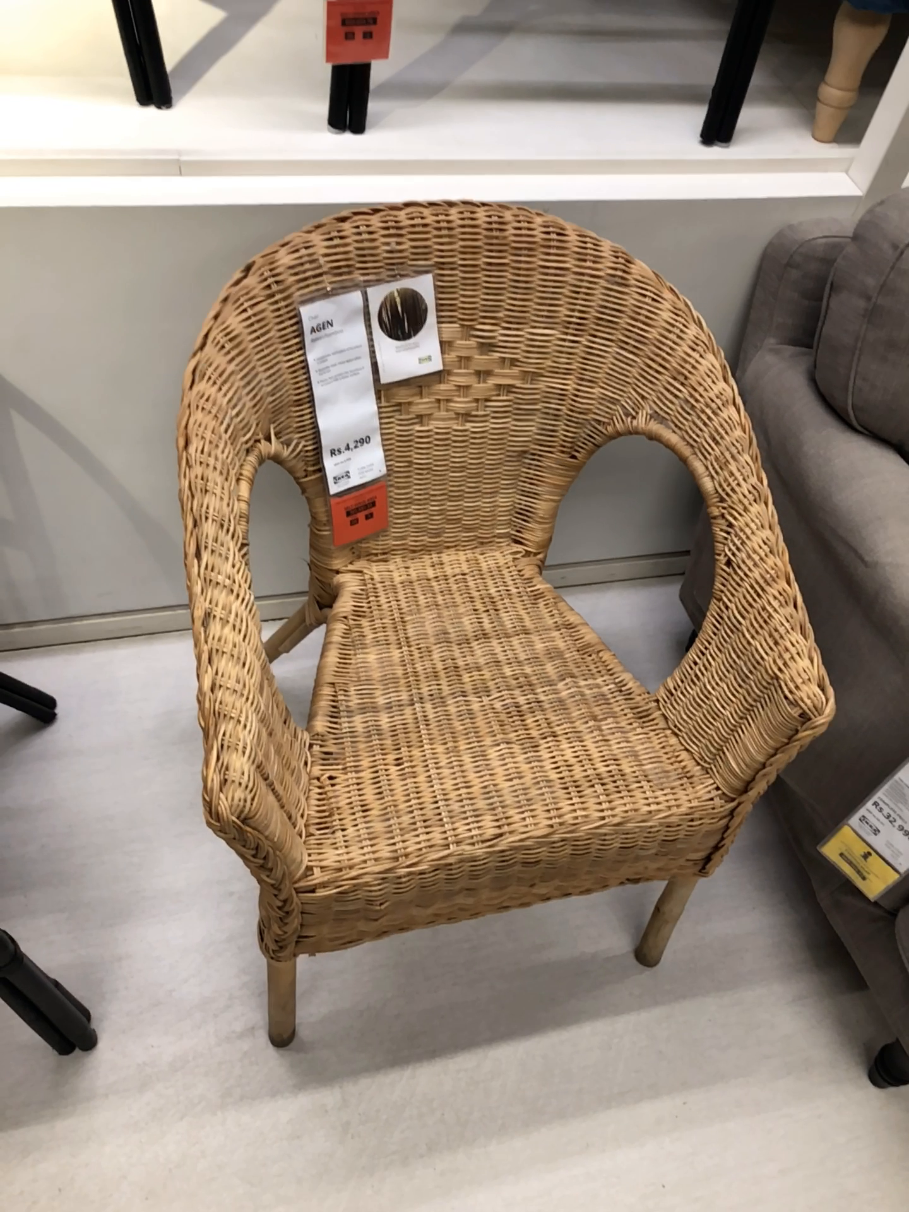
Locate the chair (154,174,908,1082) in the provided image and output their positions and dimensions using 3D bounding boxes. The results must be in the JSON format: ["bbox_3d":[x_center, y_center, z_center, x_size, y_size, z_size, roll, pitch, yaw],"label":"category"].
[{"bbox_3d":[0.025,0.036,1.053,0.550,0.696,0.603,-7,53,-14],"label":"chair"}]
